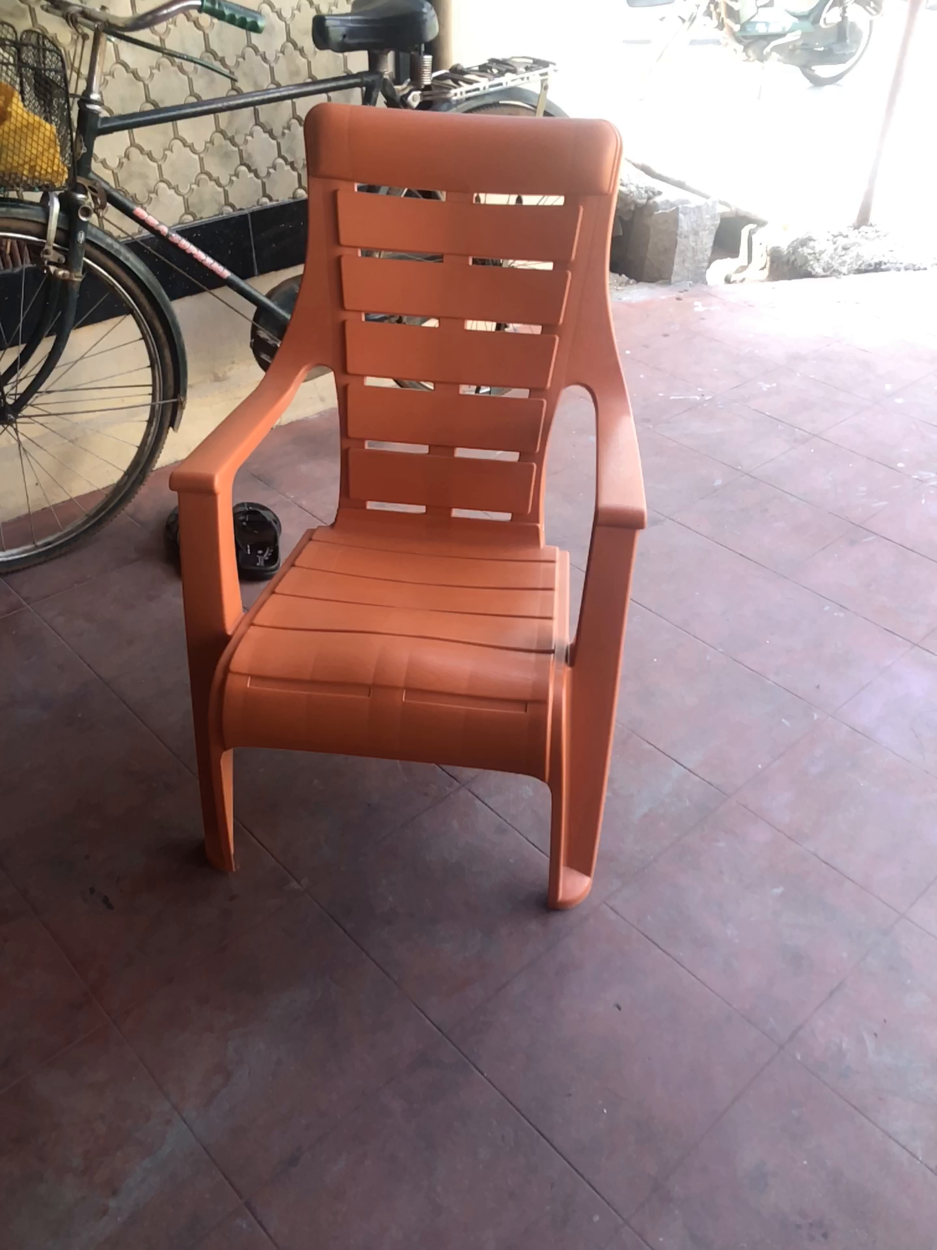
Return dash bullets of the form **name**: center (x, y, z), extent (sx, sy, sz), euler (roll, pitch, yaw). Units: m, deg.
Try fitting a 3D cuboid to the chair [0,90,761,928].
- **chair**: center (-0.077, -0.189, 1.372), extent (0.690, 0.786, 0.764), euler (4, 38, 4)
